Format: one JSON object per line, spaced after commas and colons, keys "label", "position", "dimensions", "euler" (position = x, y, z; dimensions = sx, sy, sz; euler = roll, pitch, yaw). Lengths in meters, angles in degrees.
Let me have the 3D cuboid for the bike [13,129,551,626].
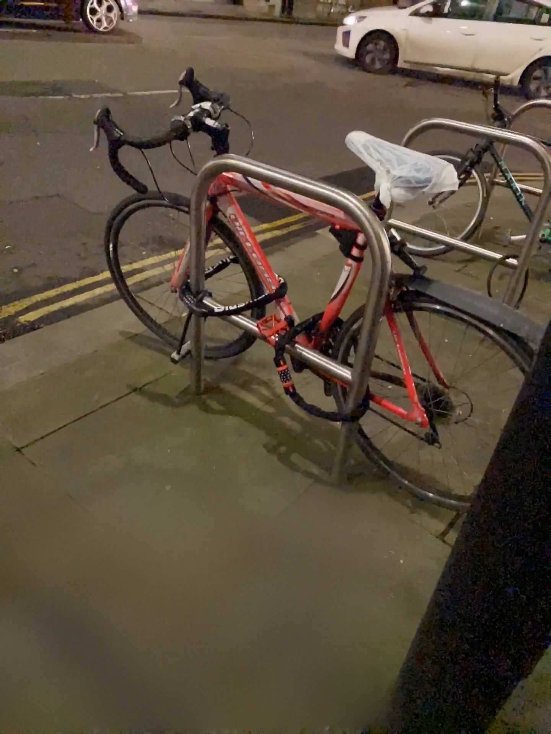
{"label": "bike", "position": [-0.017, -0.122, 1.731], "dimensions": [1.663, 0.809, 0.539], "euler": [27, 40, 29]}
